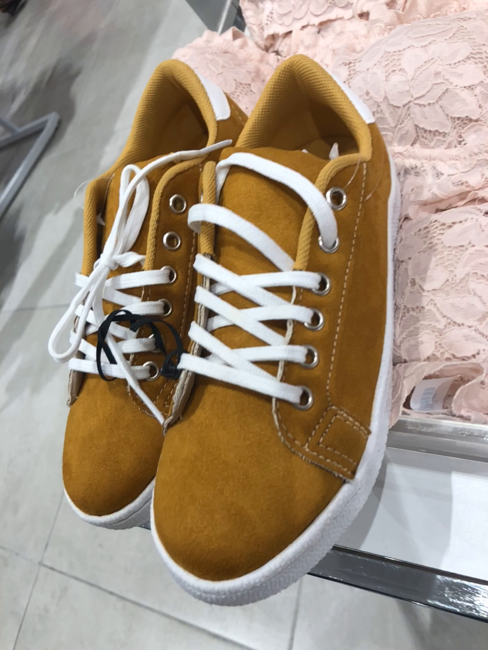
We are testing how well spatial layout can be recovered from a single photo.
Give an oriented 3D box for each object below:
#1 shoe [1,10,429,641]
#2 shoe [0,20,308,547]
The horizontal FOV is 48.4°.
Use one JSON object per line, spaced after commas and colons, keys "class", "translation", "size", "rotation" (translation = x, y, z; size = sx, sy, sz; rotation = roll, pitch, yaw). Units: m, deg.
{"class": "shoe", "translation": [0.017, -0.012, 0.240], "size": [0.100, 0.100, 0.240], "rotation": [3, 60, 23]}
{"class": "shoe", "translation": [-0.045, -0.027, 0.283], "size": [0.090, 0.100, 0.240], "rotation": [5, 65, 23]}
